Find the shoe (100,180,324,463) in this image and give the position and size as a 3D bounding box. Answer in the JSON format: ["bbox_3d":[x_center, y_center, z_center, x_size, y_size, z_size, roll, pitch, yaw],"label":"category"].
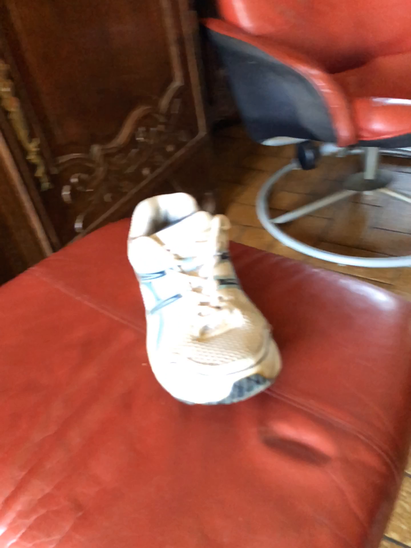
[{"bbox_3d":[-0.012,0.017,0.429,0.120,0.080,0.271,-18,40,-10],"label":"shoe"}]
